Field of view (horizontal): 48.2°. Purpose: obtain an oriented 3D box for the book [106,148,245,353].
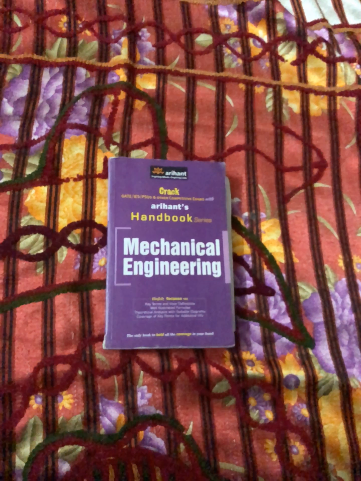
[{"bbox_3d":[-0.010,0.009,0.472,0.147,0.040,0.231,1,75,-10],"label":"book"}]
